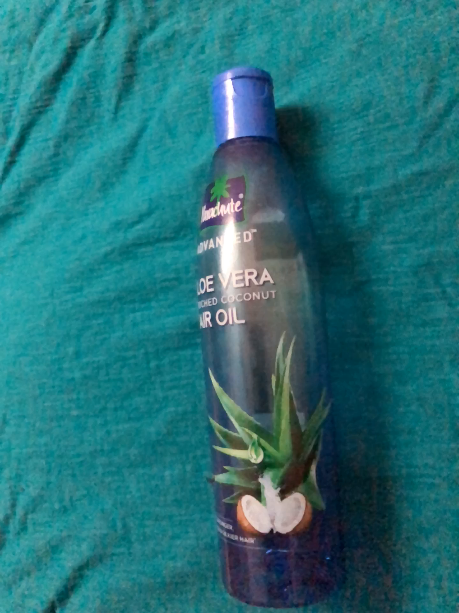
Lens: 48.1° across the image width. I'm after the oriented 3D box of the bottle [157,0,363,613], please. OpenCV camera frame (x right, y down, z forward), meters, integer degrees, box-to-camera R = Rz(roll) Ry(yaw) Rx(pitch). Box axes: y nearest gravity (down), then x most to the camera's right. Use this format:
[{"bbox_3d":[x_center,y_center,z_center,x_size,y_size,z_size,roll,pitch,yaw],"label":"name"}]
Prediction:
[{"bbox_3d":[0.010,0.001,0.192,0.050,0.040,0.210,-7,83,36],"label":"bottle"}]
